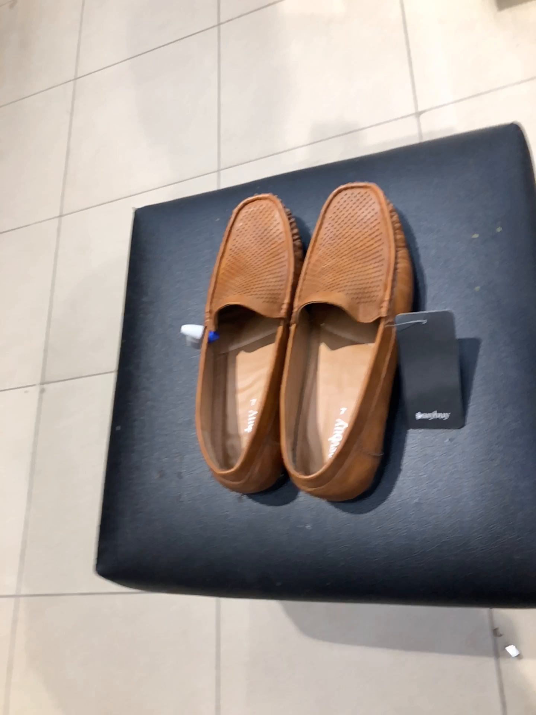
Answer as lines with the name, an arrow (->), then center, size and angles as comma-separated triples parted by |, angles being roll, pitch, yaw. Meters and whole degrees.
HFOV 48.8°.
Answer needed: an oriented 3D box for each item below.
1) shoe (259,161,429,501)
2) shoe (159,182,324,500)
shoe -> 0.072, -0.019, 0.488 | 0.097, 0.096, 0.253 | 0, 72, 23
shoe -> -0.014, -0.010, 0.519 | 0.097, 0.096, 0.253 | -4, 70, 22
